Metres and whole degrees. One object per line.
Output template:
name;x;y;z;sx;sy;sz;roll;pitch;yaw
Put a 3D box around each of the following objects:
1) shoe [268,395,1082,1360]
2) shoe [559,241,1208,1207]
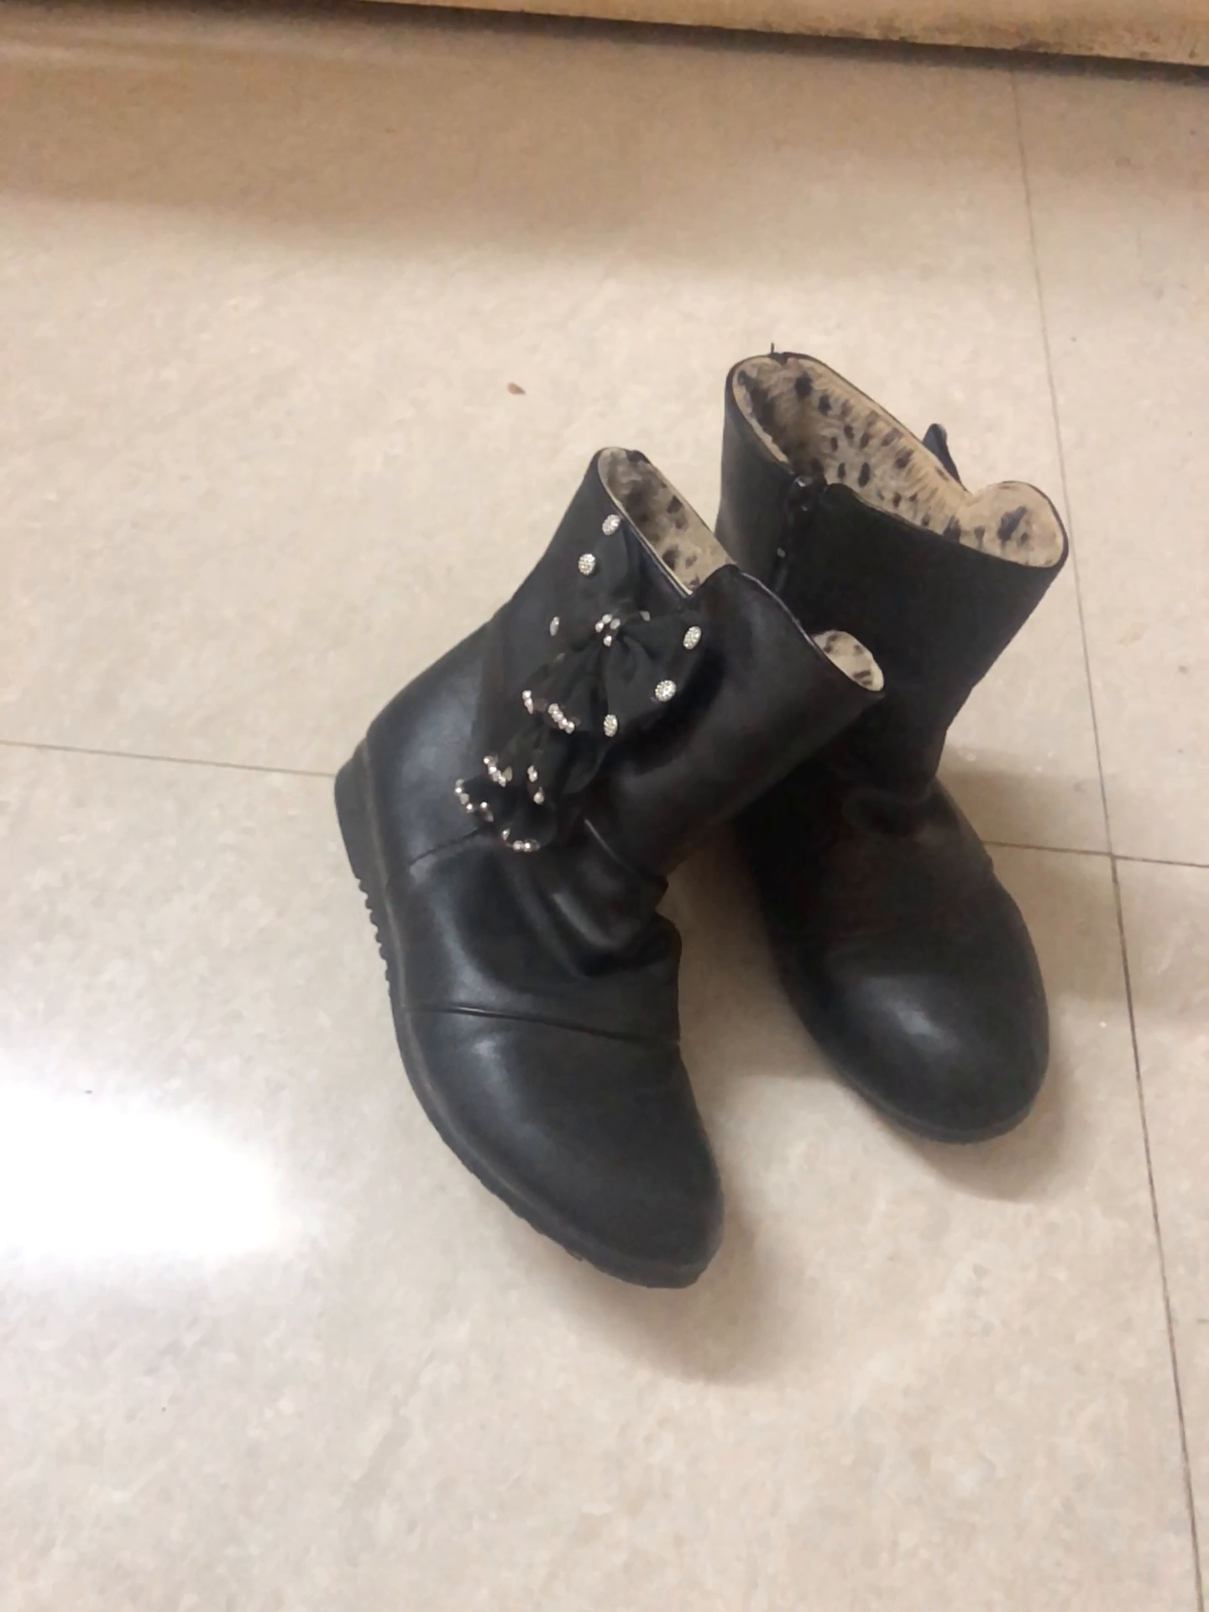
shoe;0.001;0.017;0.369;0.090;0.139;0.201;6;48;-41
shoe;0.071;-0.026;0.381;0.090;0.139;0.221;-19;59;-14
